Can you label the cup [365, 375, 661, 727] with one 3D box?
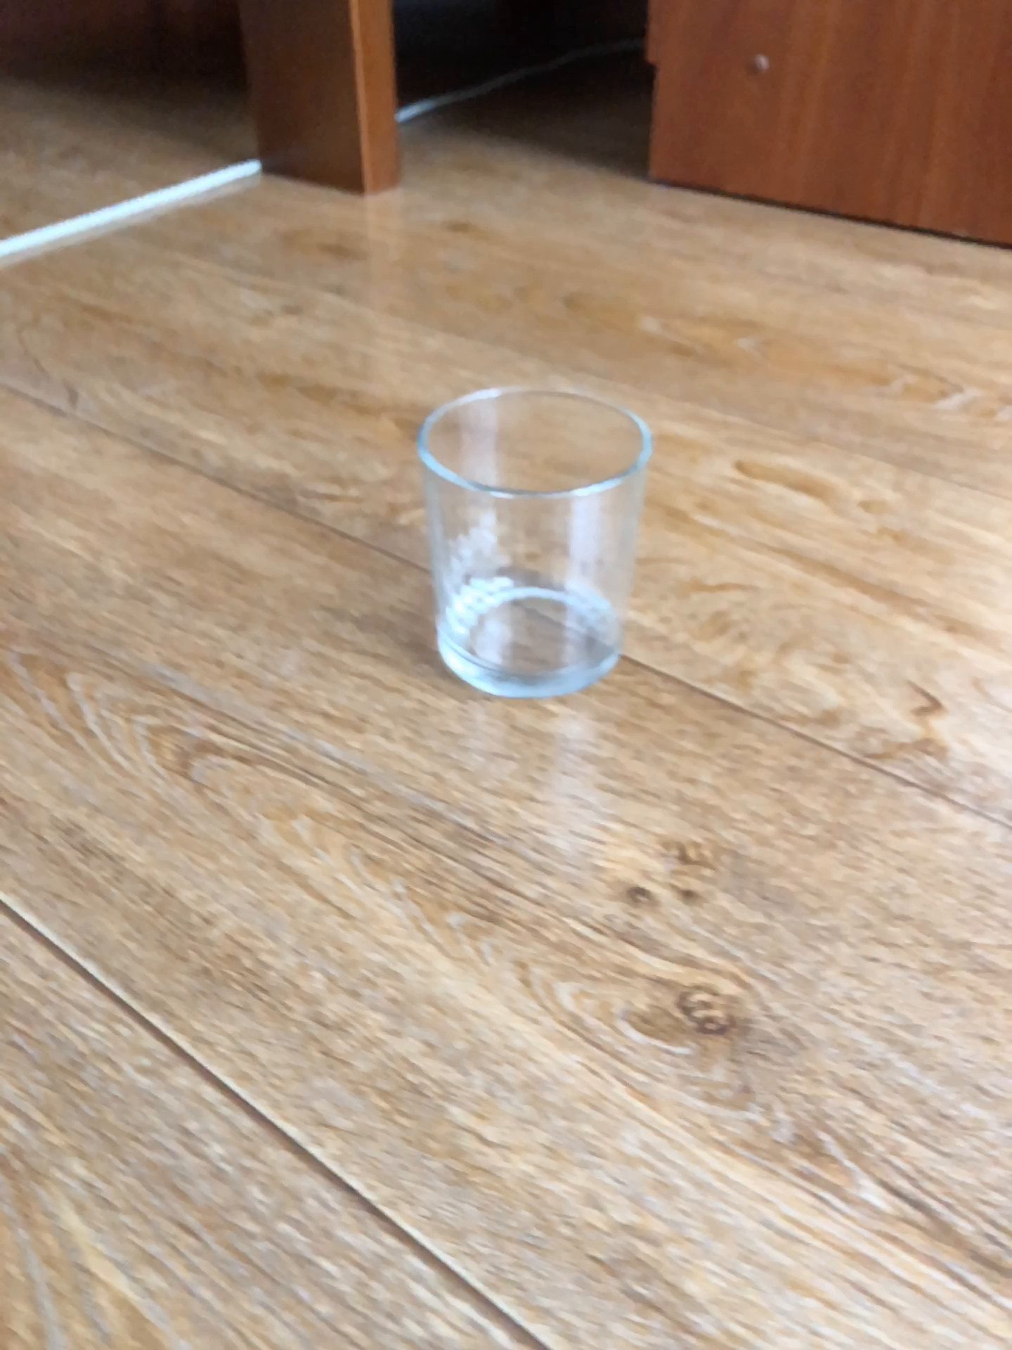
[{"bbox_3d":[0.005,-0.044,0.381,0.075,0.079,0.078,0,38,0],"label":"cup"}]
